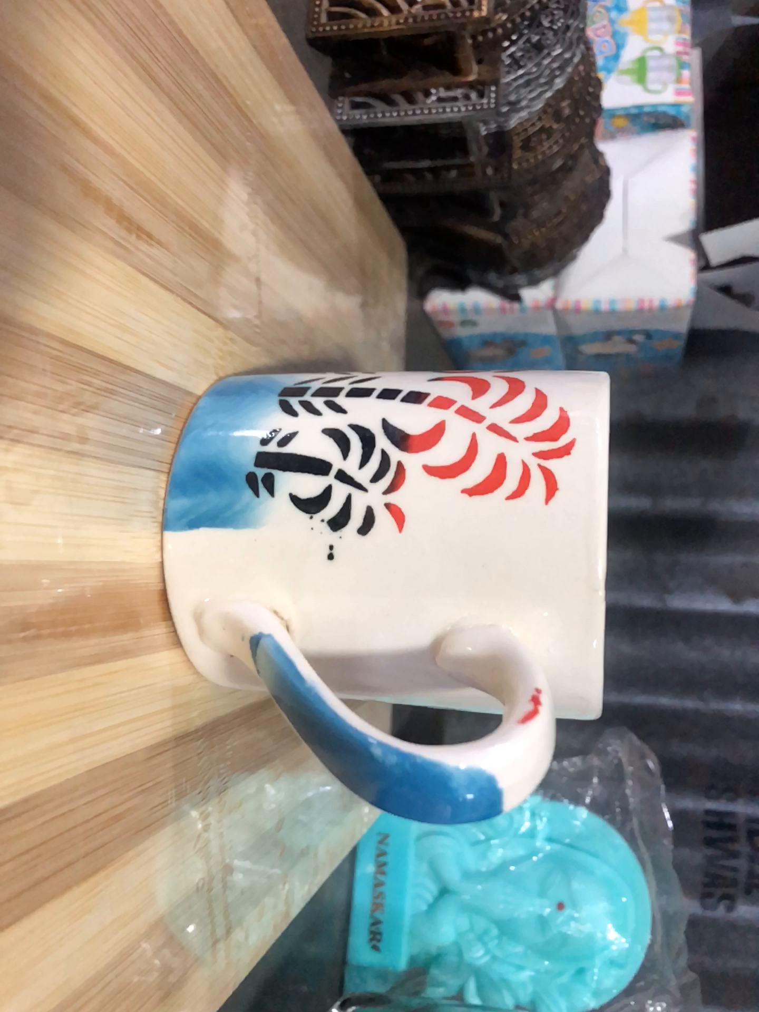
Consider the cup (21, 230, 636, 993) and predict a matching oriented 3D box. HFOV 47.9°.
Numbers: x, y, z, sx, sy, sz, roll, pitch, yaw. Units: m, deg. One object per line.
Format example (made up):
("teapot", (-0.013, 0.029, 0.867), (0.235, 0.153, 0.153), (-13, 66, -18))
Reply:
("cup", (0.008, 0.012, 0.183), (0.120, 0.080, 0.100), (-71, 159, -51))
